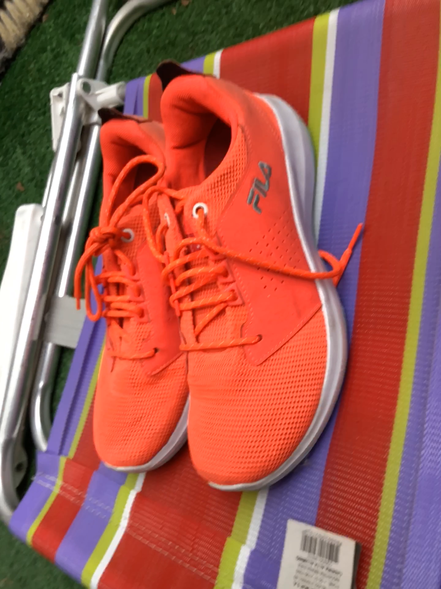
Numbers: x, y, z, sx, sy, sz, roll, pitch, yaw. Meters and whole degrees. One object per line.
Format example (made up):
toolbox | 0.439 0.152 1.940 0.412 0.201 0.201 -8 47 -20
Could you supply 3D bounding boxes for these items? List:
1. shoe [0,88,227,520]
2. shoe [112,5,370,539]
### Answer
shoe | -0.074 0.008 0.326 0.100 0.099 0.230 -3 76 35
shoe | 0.014 -0.011 0.286 0.100 0.090 0.250 -11 72 40
